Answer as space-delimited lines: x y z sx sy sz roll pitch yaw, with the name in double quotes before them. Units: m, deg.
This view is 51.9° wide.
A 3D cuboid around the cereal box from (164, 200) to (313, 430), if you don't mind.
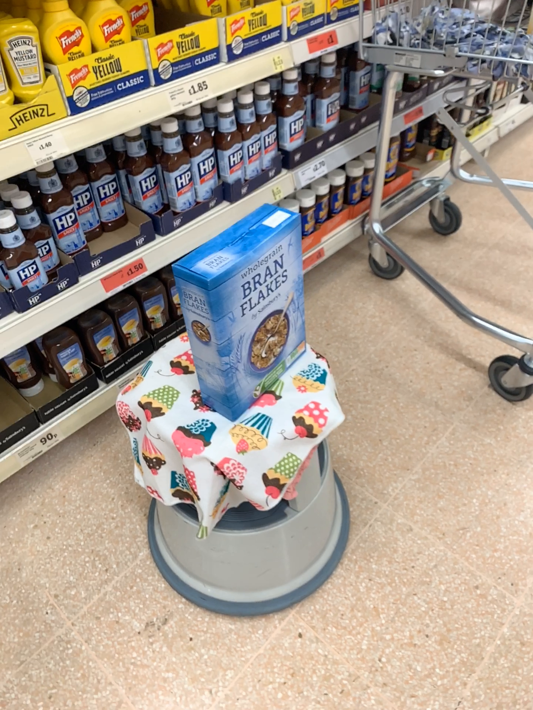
"cereal box" -0.025 -0.058 0.813 0.080 0.258 0.211 25 50 29
